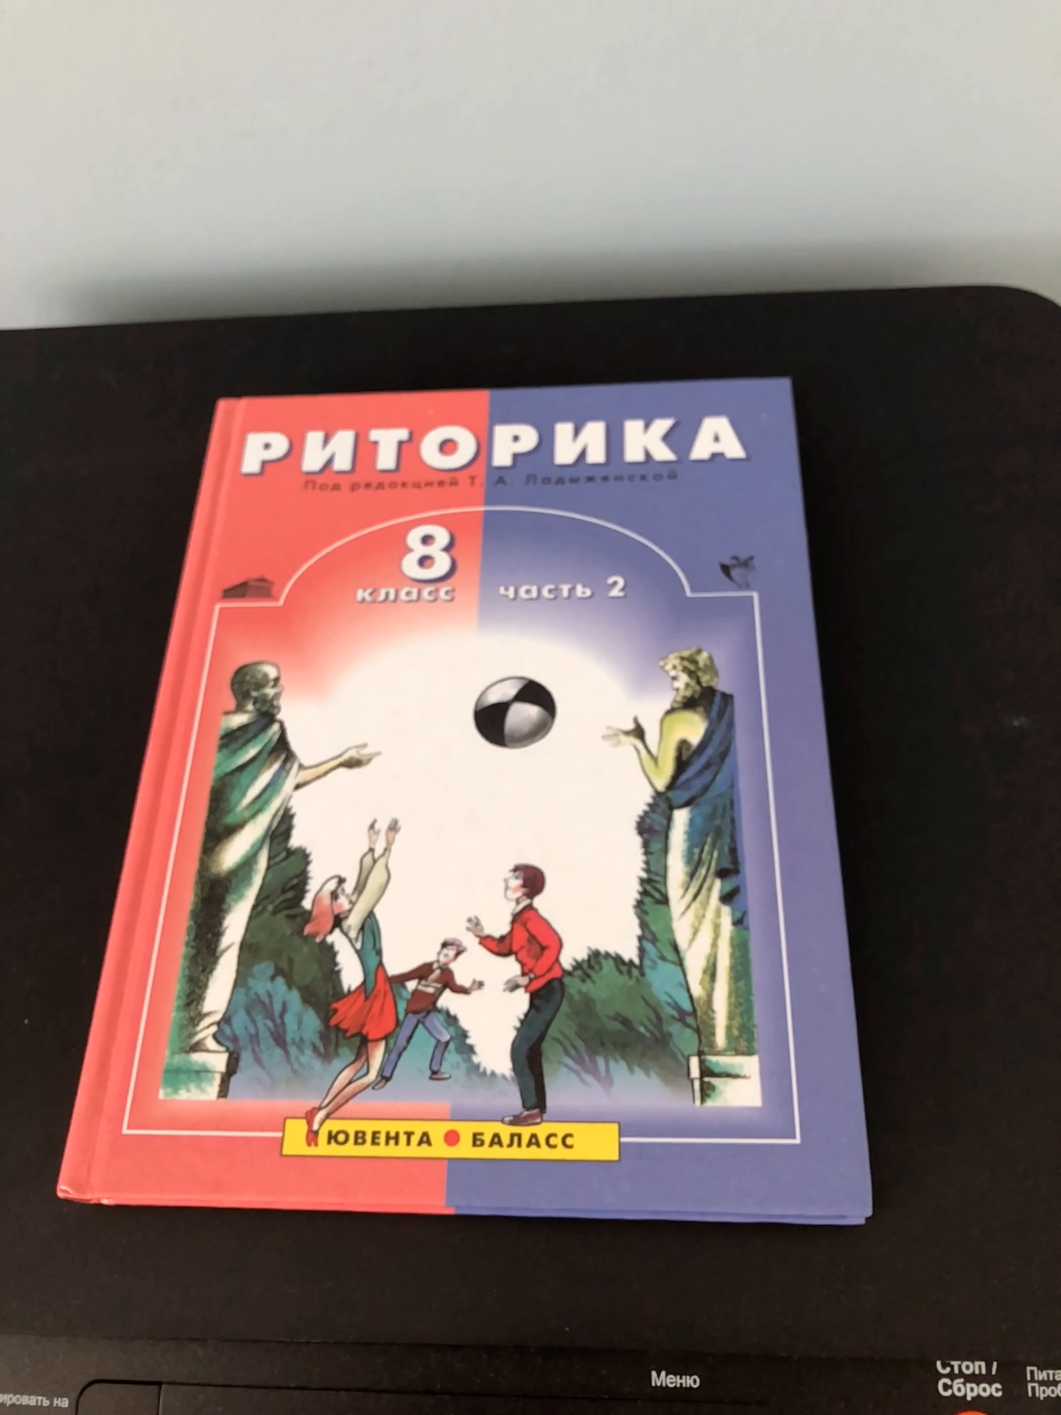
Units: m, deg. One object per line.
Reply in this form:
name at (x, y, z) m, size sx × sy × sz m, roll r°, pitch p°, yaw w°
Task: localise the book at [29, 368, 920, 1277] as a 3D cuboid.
book at (-0.009, 0.011, 0.285) m, size 0.170 × 0.020 × 0.221 m, roll -1°, pitch 62°, yaw 5°
